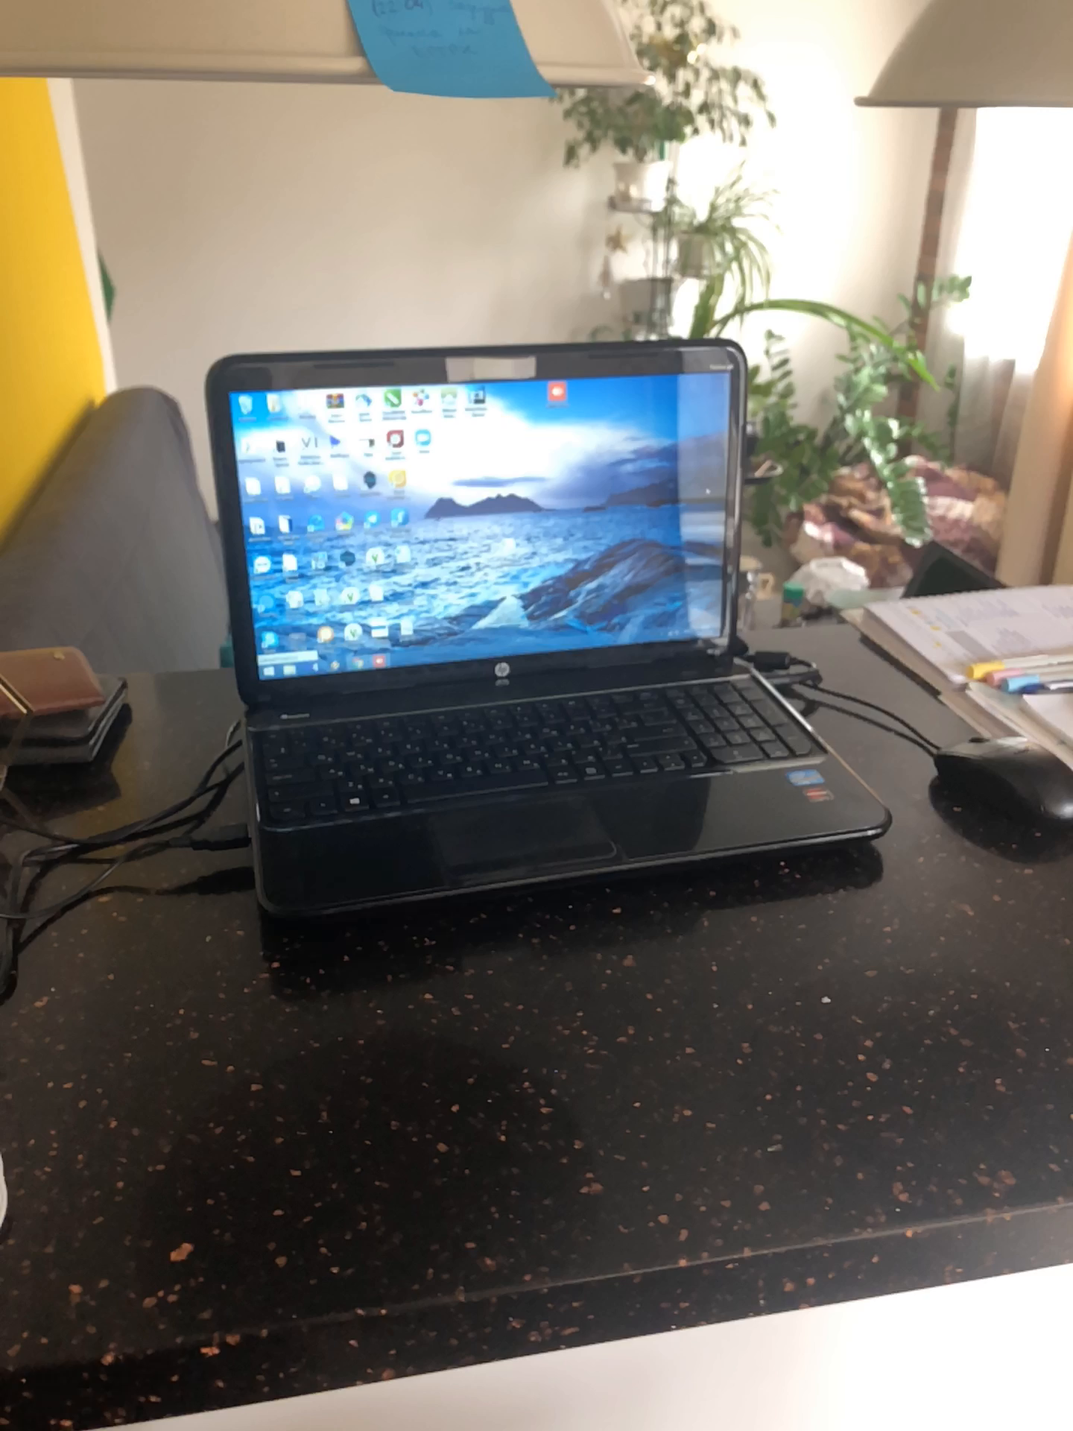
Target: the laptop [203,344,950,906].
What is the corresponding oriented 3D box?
[{"bbox_3d":[0.001,-0.081,0.720,0.360,0.217,0.269,-6,28,-14],"label":"laptop"}]
